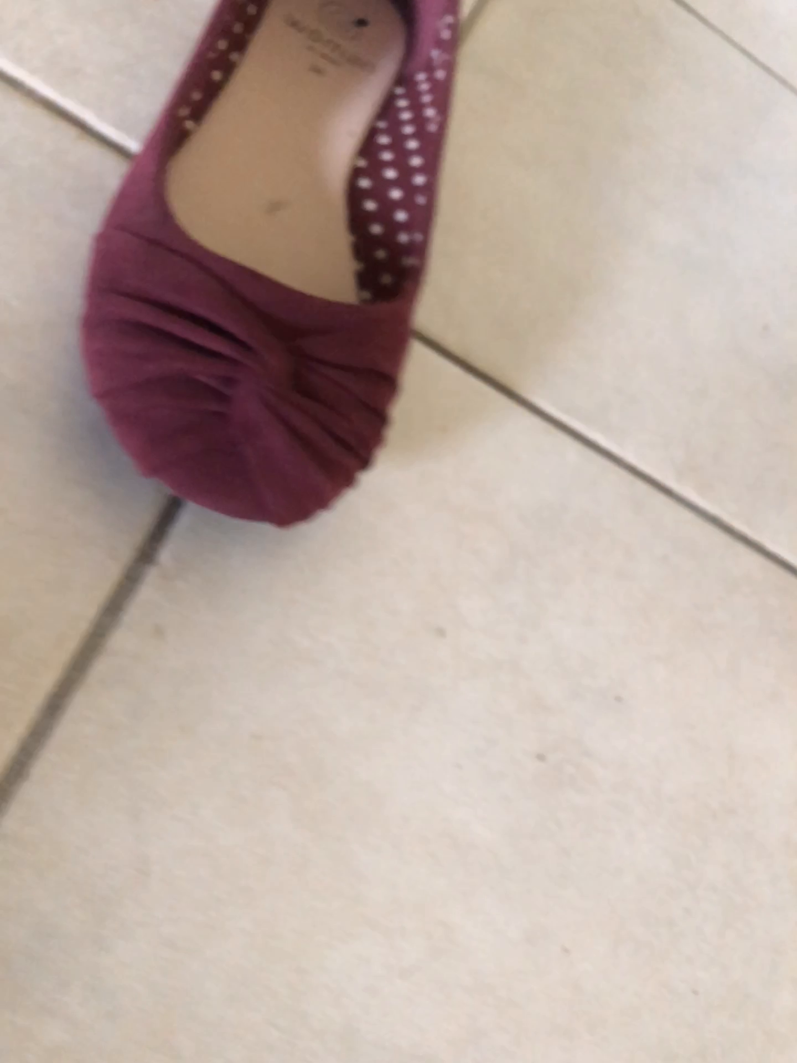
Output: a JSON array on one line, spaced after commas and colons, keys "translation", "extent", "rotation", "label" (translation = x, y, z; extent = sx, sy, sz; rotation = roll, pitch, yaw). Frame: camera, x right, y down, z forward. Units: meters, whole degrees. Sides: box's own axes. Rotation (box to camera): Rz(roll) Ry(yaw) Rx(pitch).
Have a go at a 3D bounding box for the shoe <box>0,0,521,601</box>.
[{"translation": [-0.029, -0.117, 0.265], "extent": [0.082, 0.080, 0.251], "rotation": [18, 59, -13], "label": "shoe"}]
